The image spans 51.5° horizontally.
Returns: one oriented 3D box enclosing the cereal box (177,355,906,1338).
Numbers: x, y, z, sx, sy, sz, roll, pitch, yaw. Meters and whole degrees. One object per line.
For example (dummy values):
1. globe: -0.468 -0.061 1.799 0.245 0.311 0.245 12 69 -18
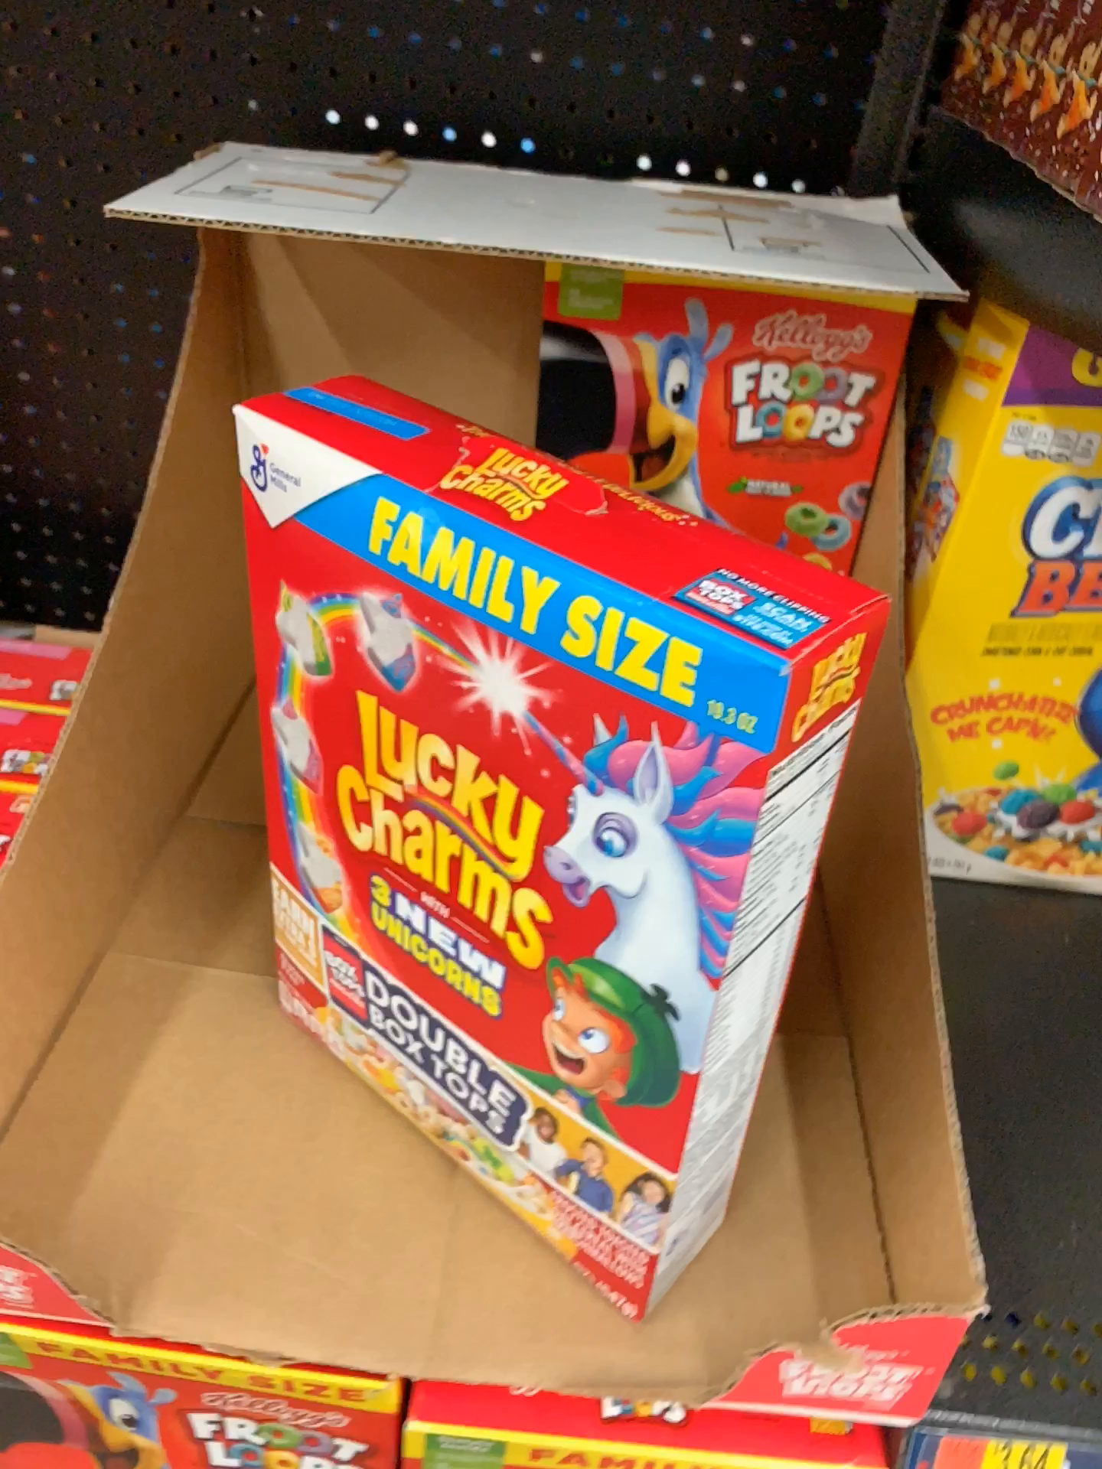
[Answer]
1. cereal box: -0.026 0.042 0.414 0.230 0.288 0.060 29 41 30
